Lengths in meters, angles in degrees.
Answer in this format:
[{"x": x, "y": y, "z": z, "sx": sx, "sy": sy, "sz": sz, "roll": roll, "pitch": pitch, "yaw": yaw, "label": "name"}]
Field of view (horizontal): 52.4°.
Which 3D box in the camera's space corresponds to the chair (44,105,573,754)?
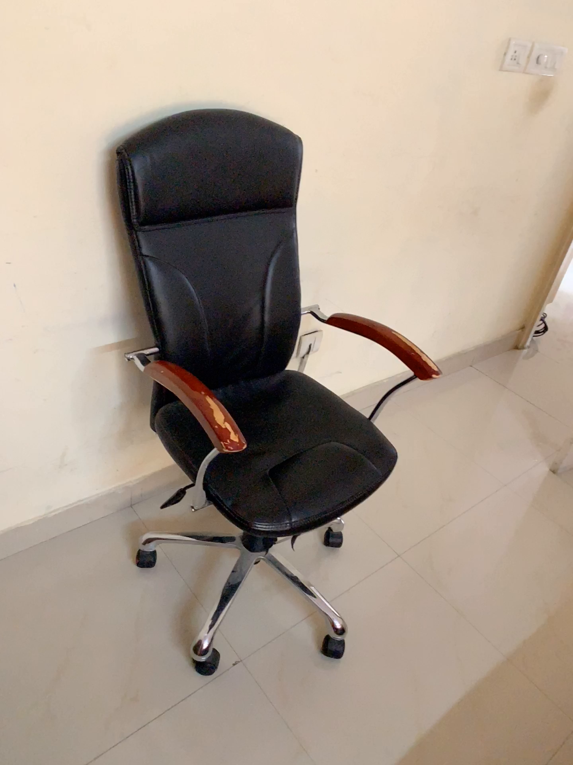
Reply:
[{"x": -0.029, "y": 0.044, "z": 1.345, "sx": 0.703, "sy": 1.081, "sz": 0.754, "roll": -18, "pitch": 43, "yaw": -36, "label": "chair"}]
